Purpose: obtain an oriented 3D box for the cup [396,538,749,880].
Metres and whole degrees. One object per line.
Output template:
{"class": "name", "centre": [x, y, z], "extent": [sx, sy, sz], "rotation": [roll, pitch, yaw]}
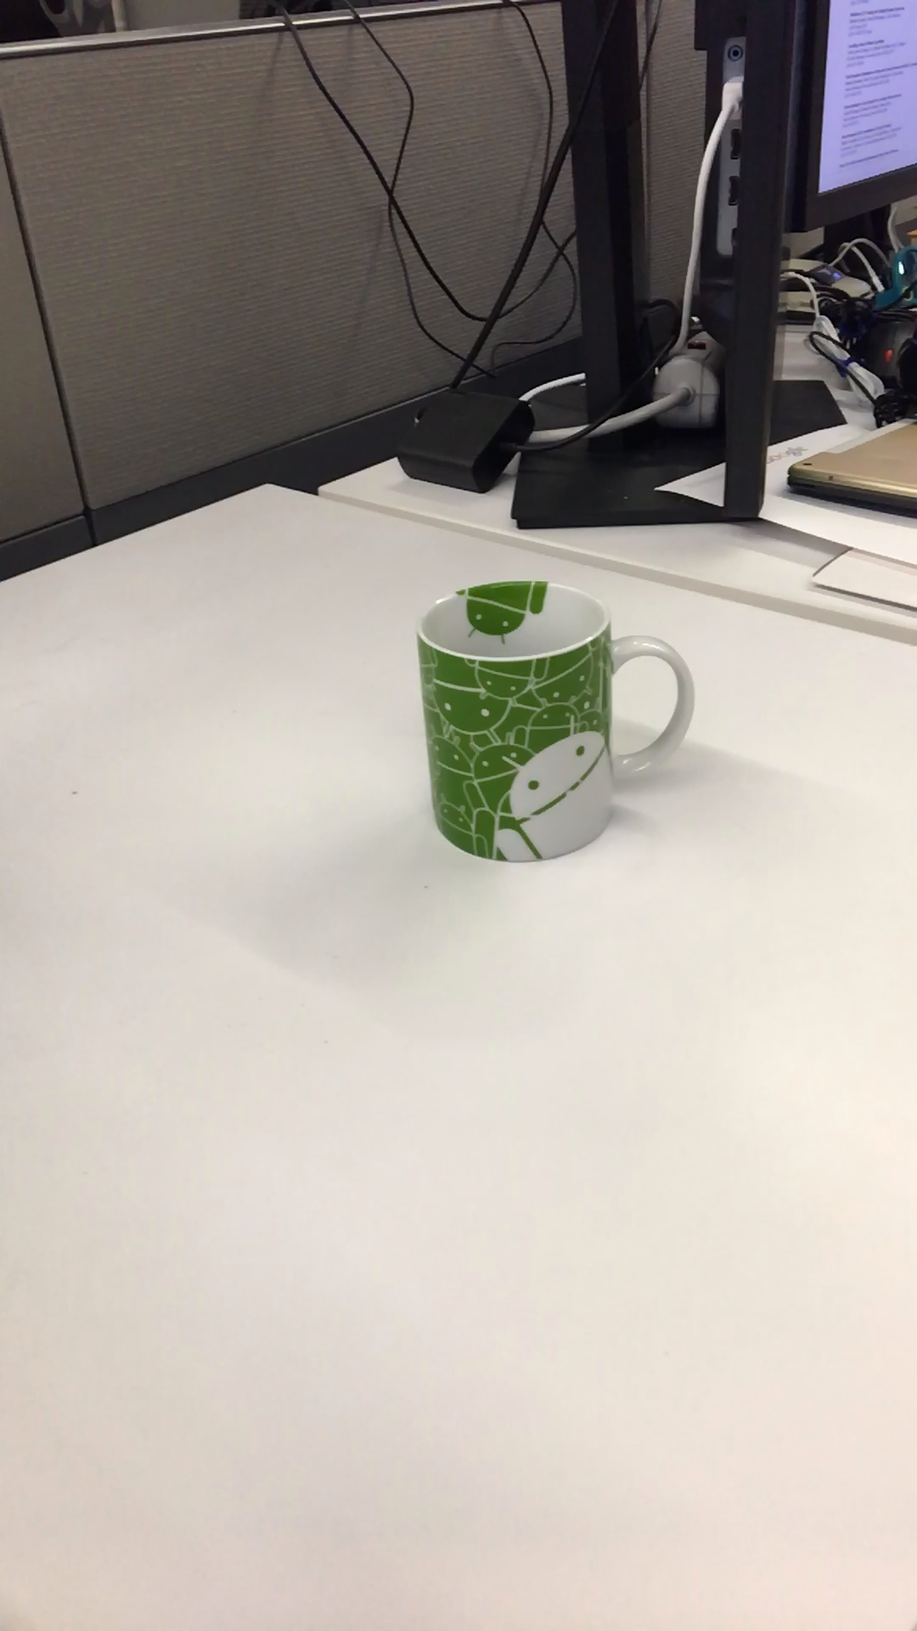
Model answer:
{"class": "cup", "centre": [0.046, -0.048, 0.564], "extent": [0.110, 0.090, 0.090], "rotation": [-17, 33, -20]}
